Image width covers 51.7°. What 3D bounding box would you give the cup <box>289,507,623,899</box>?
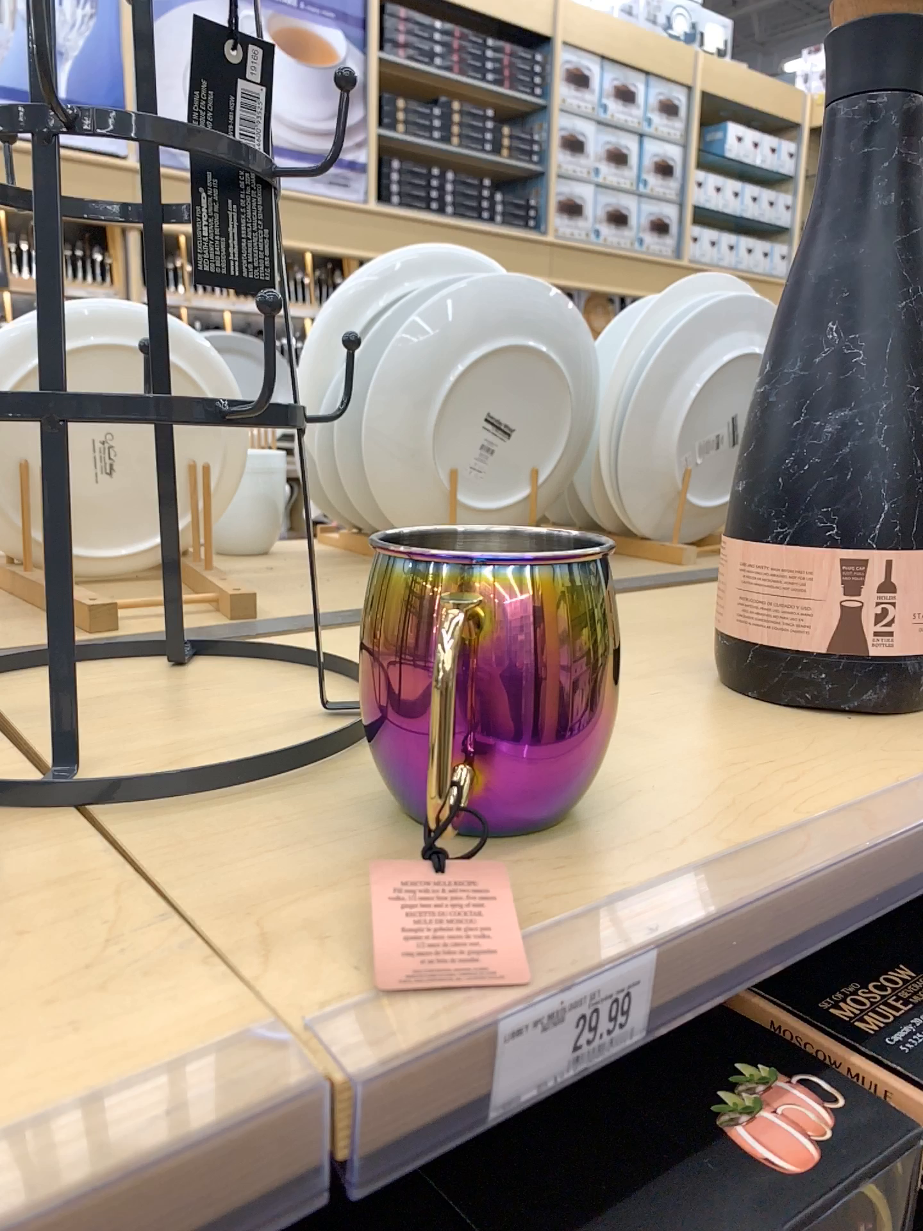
[{"bbox_3d":[0.006,0.017,0.320,0.084,0.089,0.131,4,12,11],"label":"cup"}]
